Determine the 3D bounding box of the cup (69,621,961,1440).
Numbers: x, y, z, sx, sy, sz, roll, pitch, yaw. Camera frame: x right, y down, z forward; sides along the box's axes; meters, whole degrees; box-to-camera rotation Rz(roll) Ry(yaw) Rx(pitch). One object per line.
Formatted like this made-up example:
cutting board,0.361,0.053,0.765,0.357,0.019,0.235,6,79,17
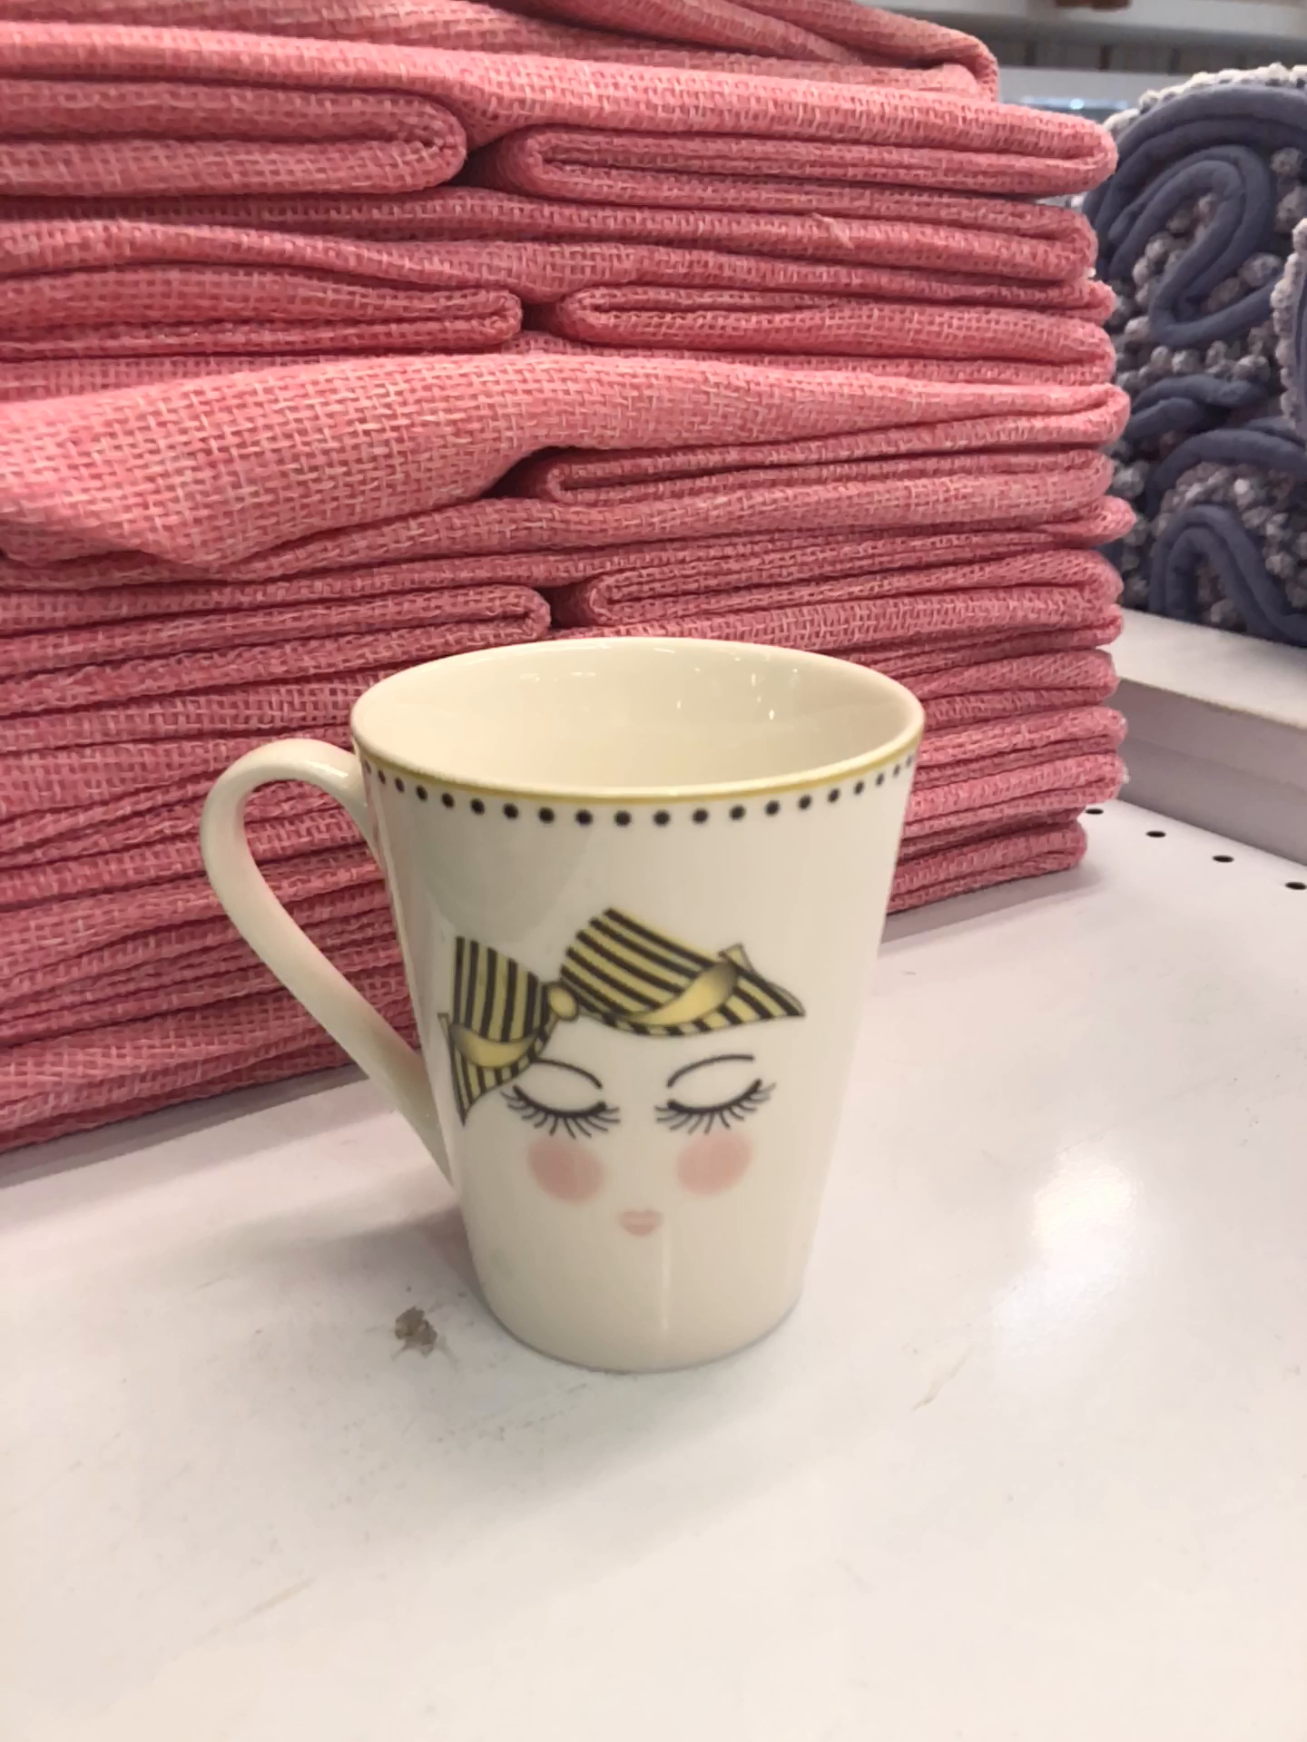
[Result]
cup,-0.014,0.020,0.238,0.110,0.099,0.091,-1,22,4
